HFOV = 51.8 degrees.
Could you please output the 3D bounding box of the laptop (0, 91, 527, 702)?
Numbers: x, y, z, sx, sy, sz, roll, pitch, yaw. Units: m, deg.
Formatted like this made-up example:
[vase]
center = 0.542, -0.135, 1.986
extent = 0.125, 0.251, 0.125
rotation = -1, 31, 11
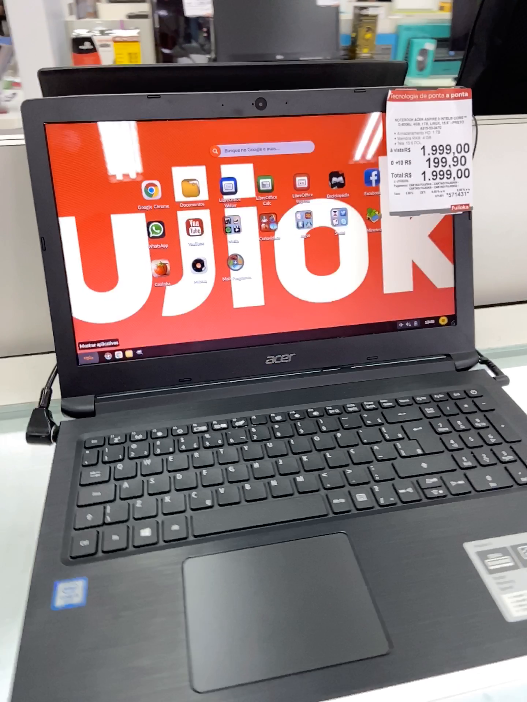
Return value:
[laptop]
center = 0.030, -0.023, 0.373
extent = 0.392, 0.230, 0.372
rotation = -6, 33, -9
